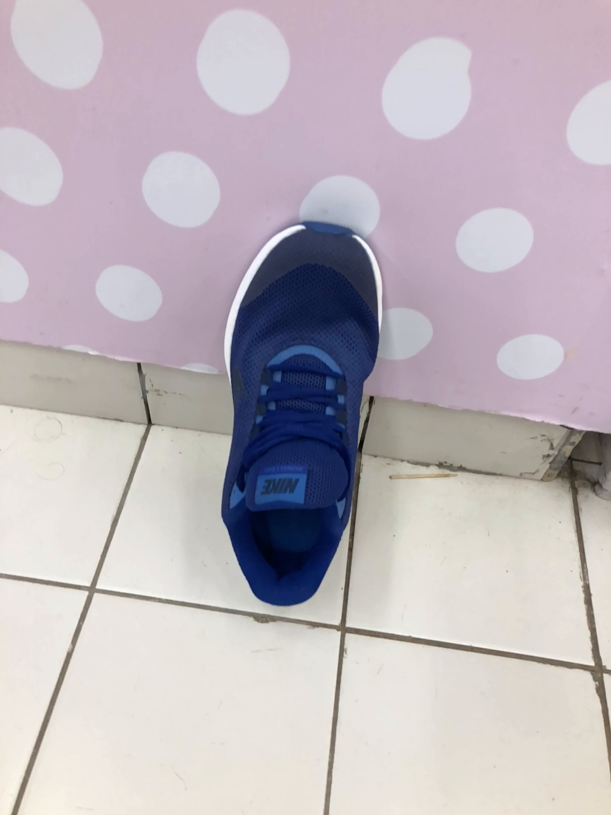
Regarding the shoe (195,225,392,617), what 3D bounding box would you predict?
[{"bbox_3d":[-0.010,0.005,0.475,0.100,0.240,0.110,6,8,-1],"label":"shoe"}]
